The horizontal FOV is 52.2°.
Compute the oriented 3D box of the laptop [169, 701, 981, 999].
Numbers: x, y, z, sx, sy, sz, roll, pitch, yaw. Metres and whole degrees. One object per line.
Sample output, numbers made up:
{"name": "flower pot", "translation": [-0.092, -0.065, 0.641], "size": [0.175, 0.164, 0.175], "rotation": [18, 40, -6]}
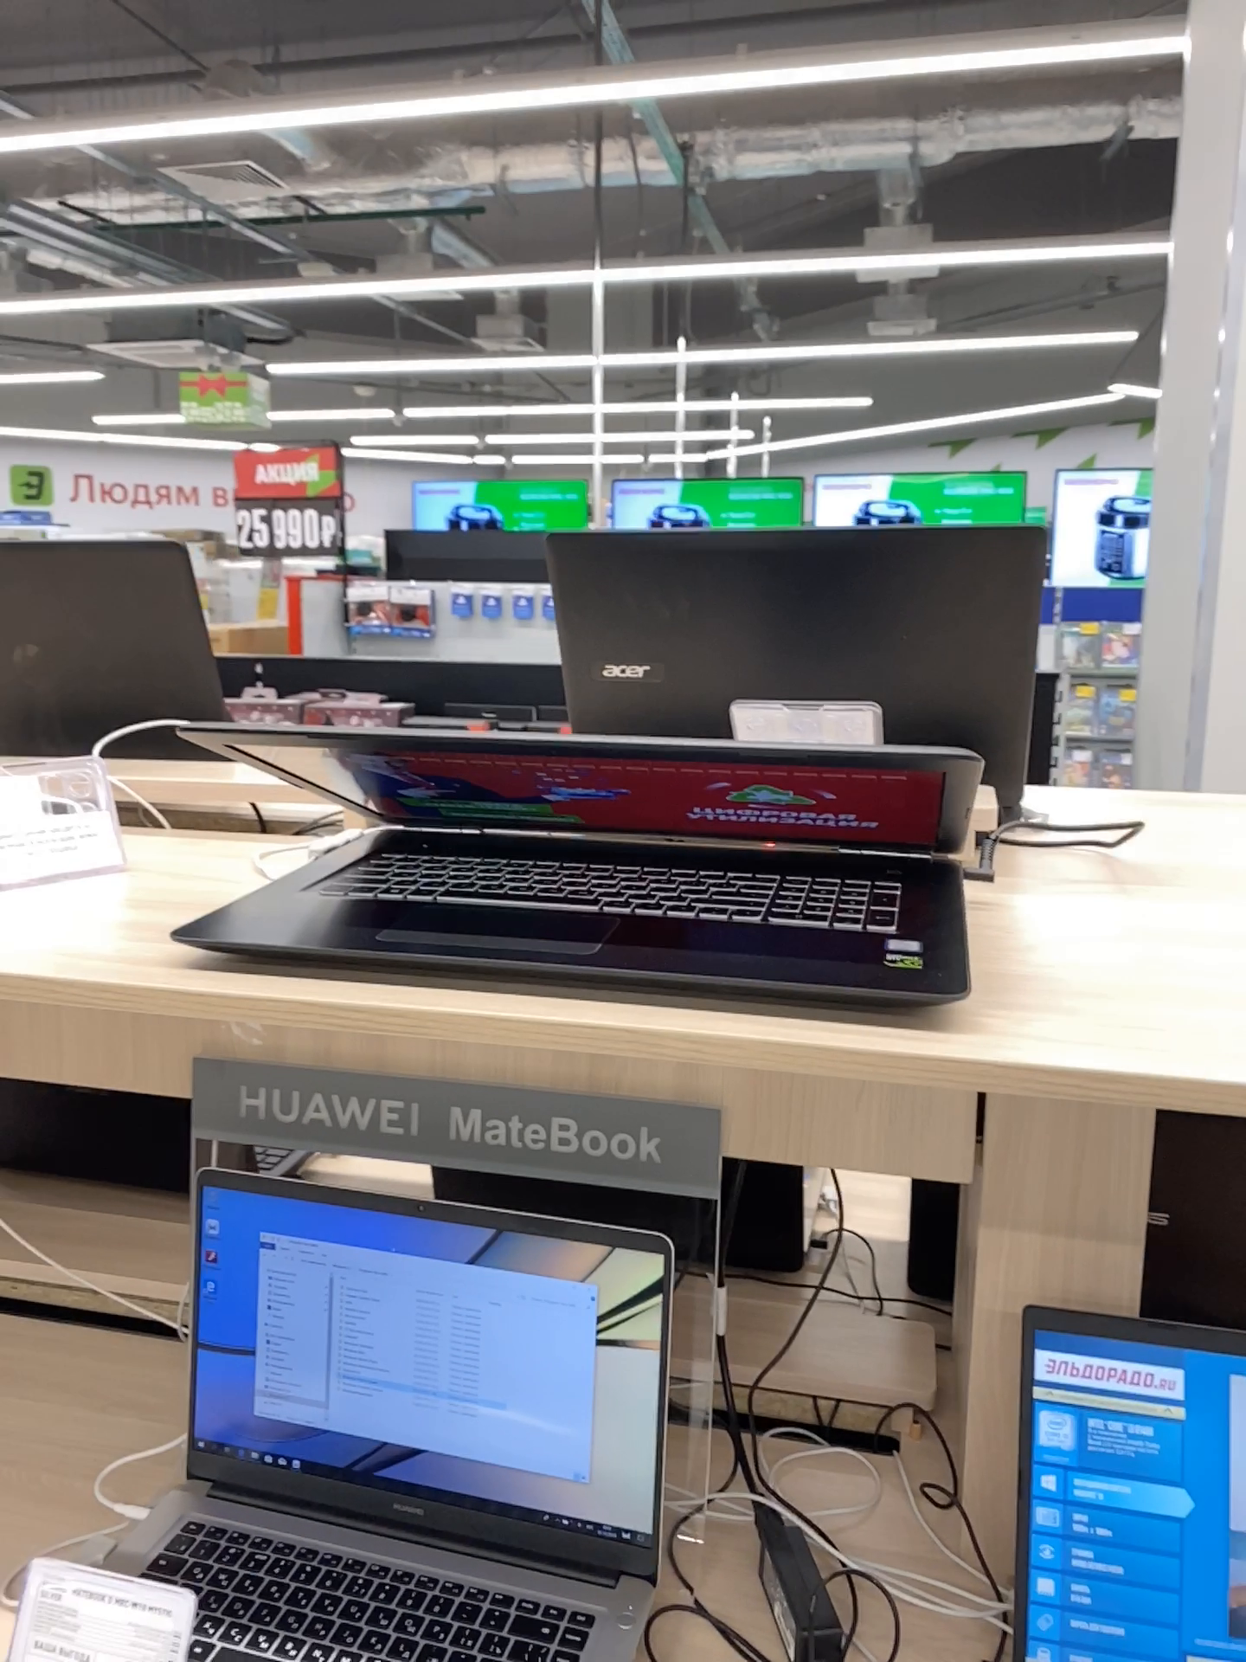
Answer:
{"name": "laptop", "translation": [-0.009, -0.009, 0.755], "size": [0.414, 0.095, 0.269], "rotation": [3, 13, 14]}
